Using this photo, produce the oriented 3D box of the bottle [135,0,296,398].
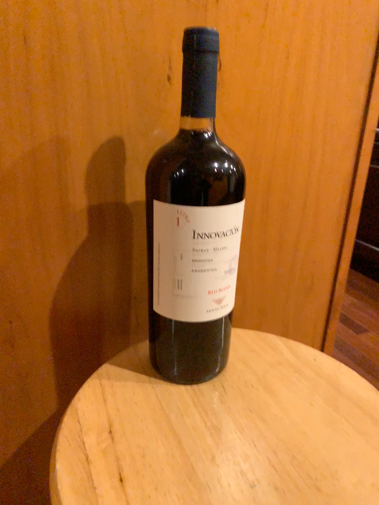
[{"bbox_3d":[0.010,-0.033,0.336,0.090,0.299,0.080,-7,23,-24],"label":"bottle"}]
